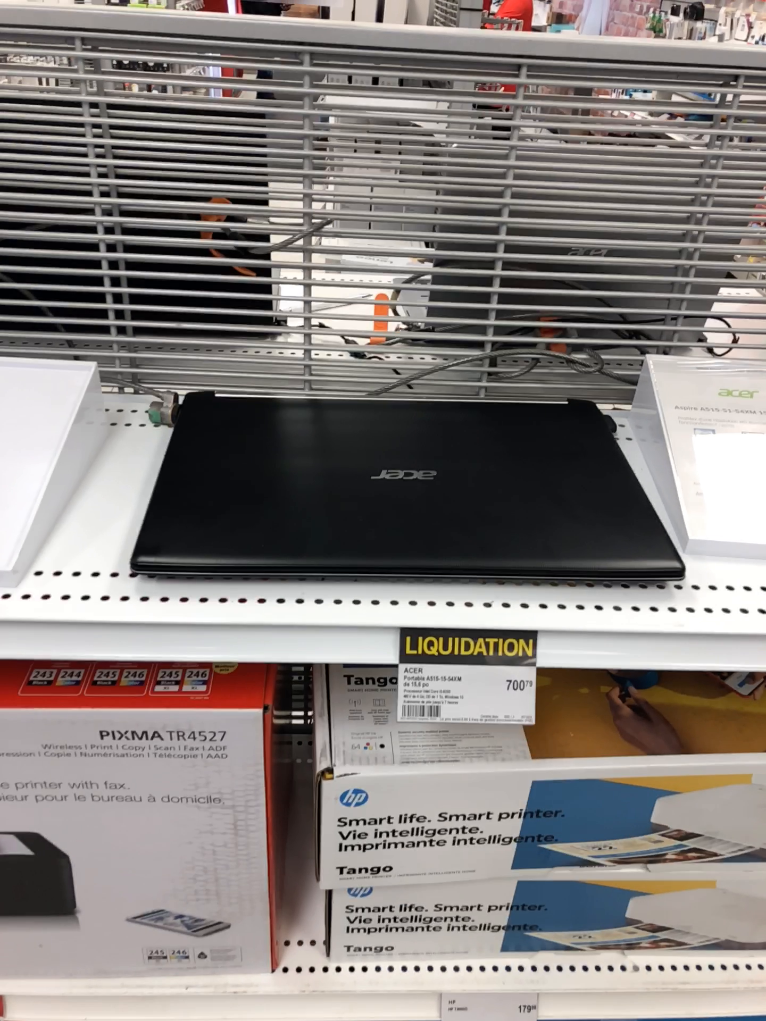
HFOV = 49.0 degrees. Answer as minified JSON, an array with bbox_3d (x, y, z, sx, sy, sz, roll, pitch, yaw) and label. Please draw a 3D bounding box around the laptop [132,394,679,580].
[{"bbox_3d":[0.016,-0.026,0.648,0.361,0.012,0.228,1,36,-4],"label":"laptop"}]
